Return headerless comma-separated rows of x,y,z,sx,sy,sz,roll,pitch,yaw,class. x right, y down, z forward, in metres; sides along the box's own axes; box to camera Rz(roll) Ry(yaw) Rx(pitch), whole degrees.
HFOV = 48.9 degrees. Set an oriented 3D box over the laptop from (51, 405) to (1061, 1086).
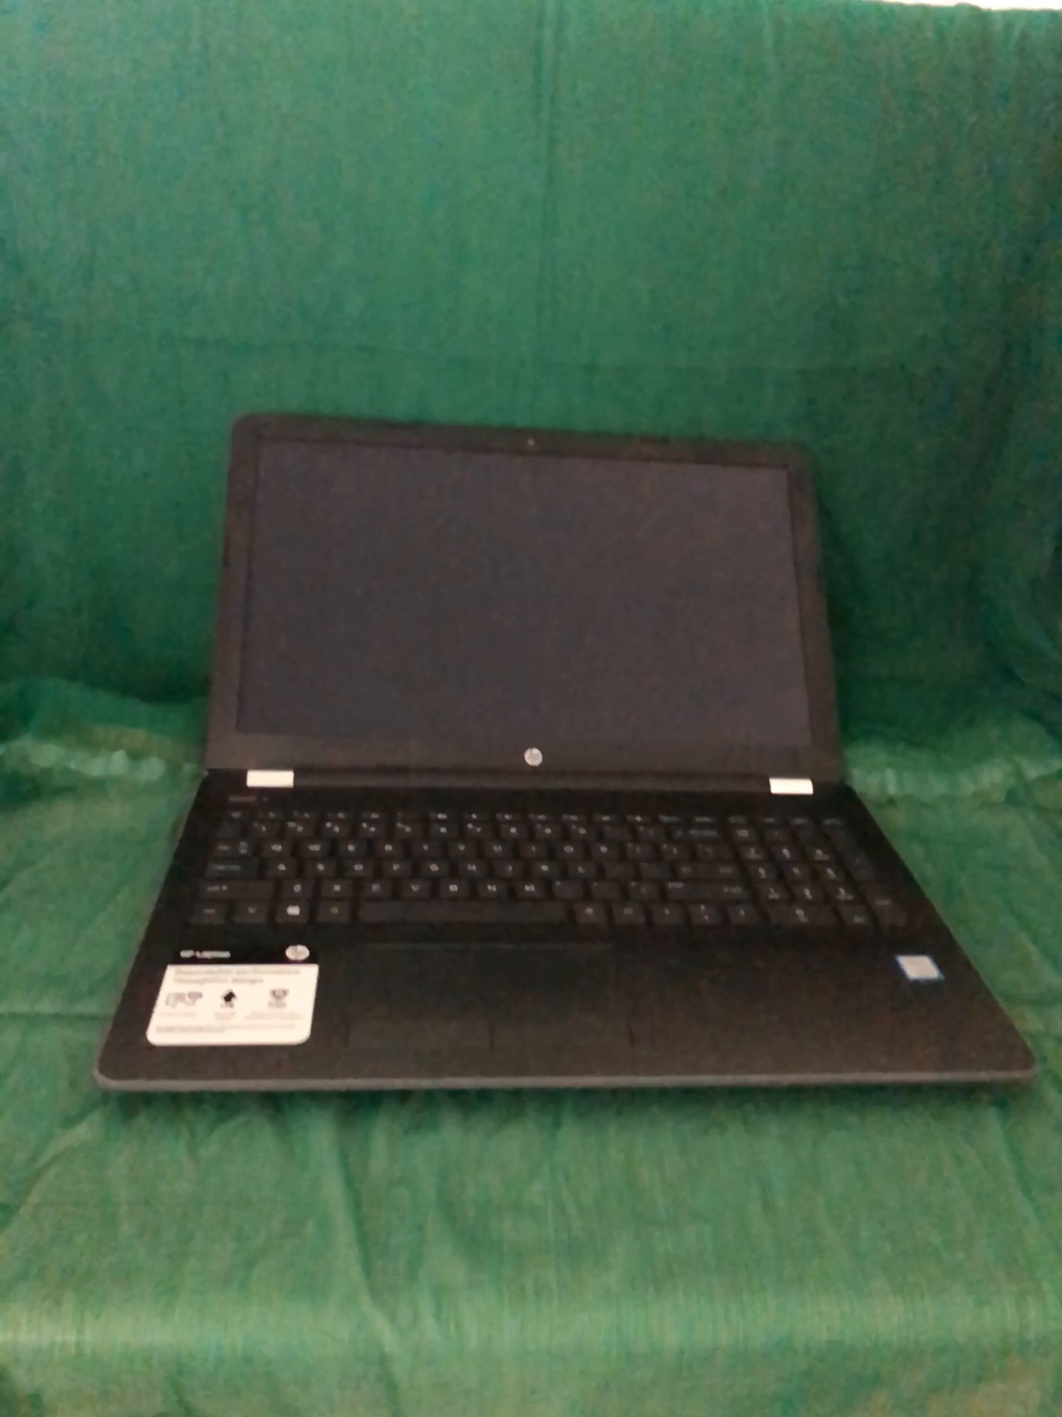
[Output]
0.014,-0.024,0.619,0.378,0.179,0.416,1,24,-5,laptop
